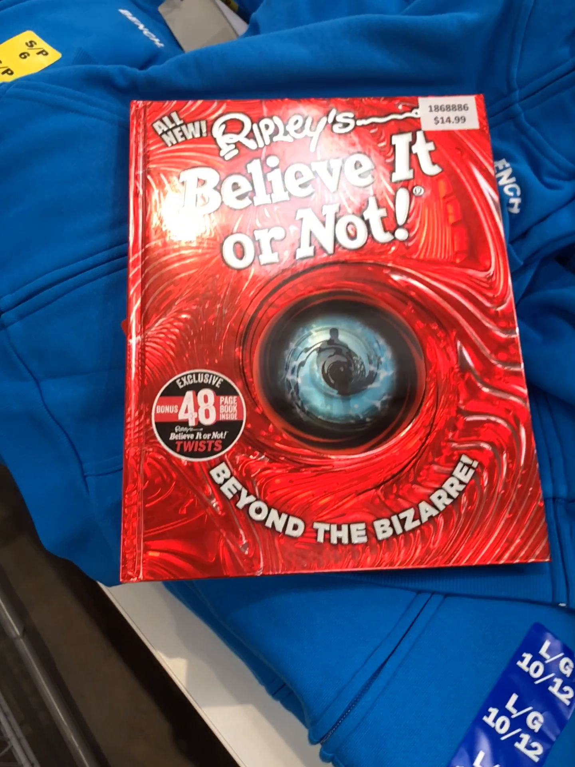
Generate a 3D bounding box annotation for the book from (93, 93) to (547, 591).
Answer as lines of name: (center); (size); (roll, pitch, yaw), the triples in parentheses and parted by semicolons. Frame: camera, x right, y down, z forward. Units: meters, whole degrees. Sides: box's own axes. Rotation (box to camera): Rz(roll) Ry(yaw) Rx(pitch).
book: (0.013, -0.037, 0.394); (0.244, 0.028, 0.303); (-2, 76, -2)
